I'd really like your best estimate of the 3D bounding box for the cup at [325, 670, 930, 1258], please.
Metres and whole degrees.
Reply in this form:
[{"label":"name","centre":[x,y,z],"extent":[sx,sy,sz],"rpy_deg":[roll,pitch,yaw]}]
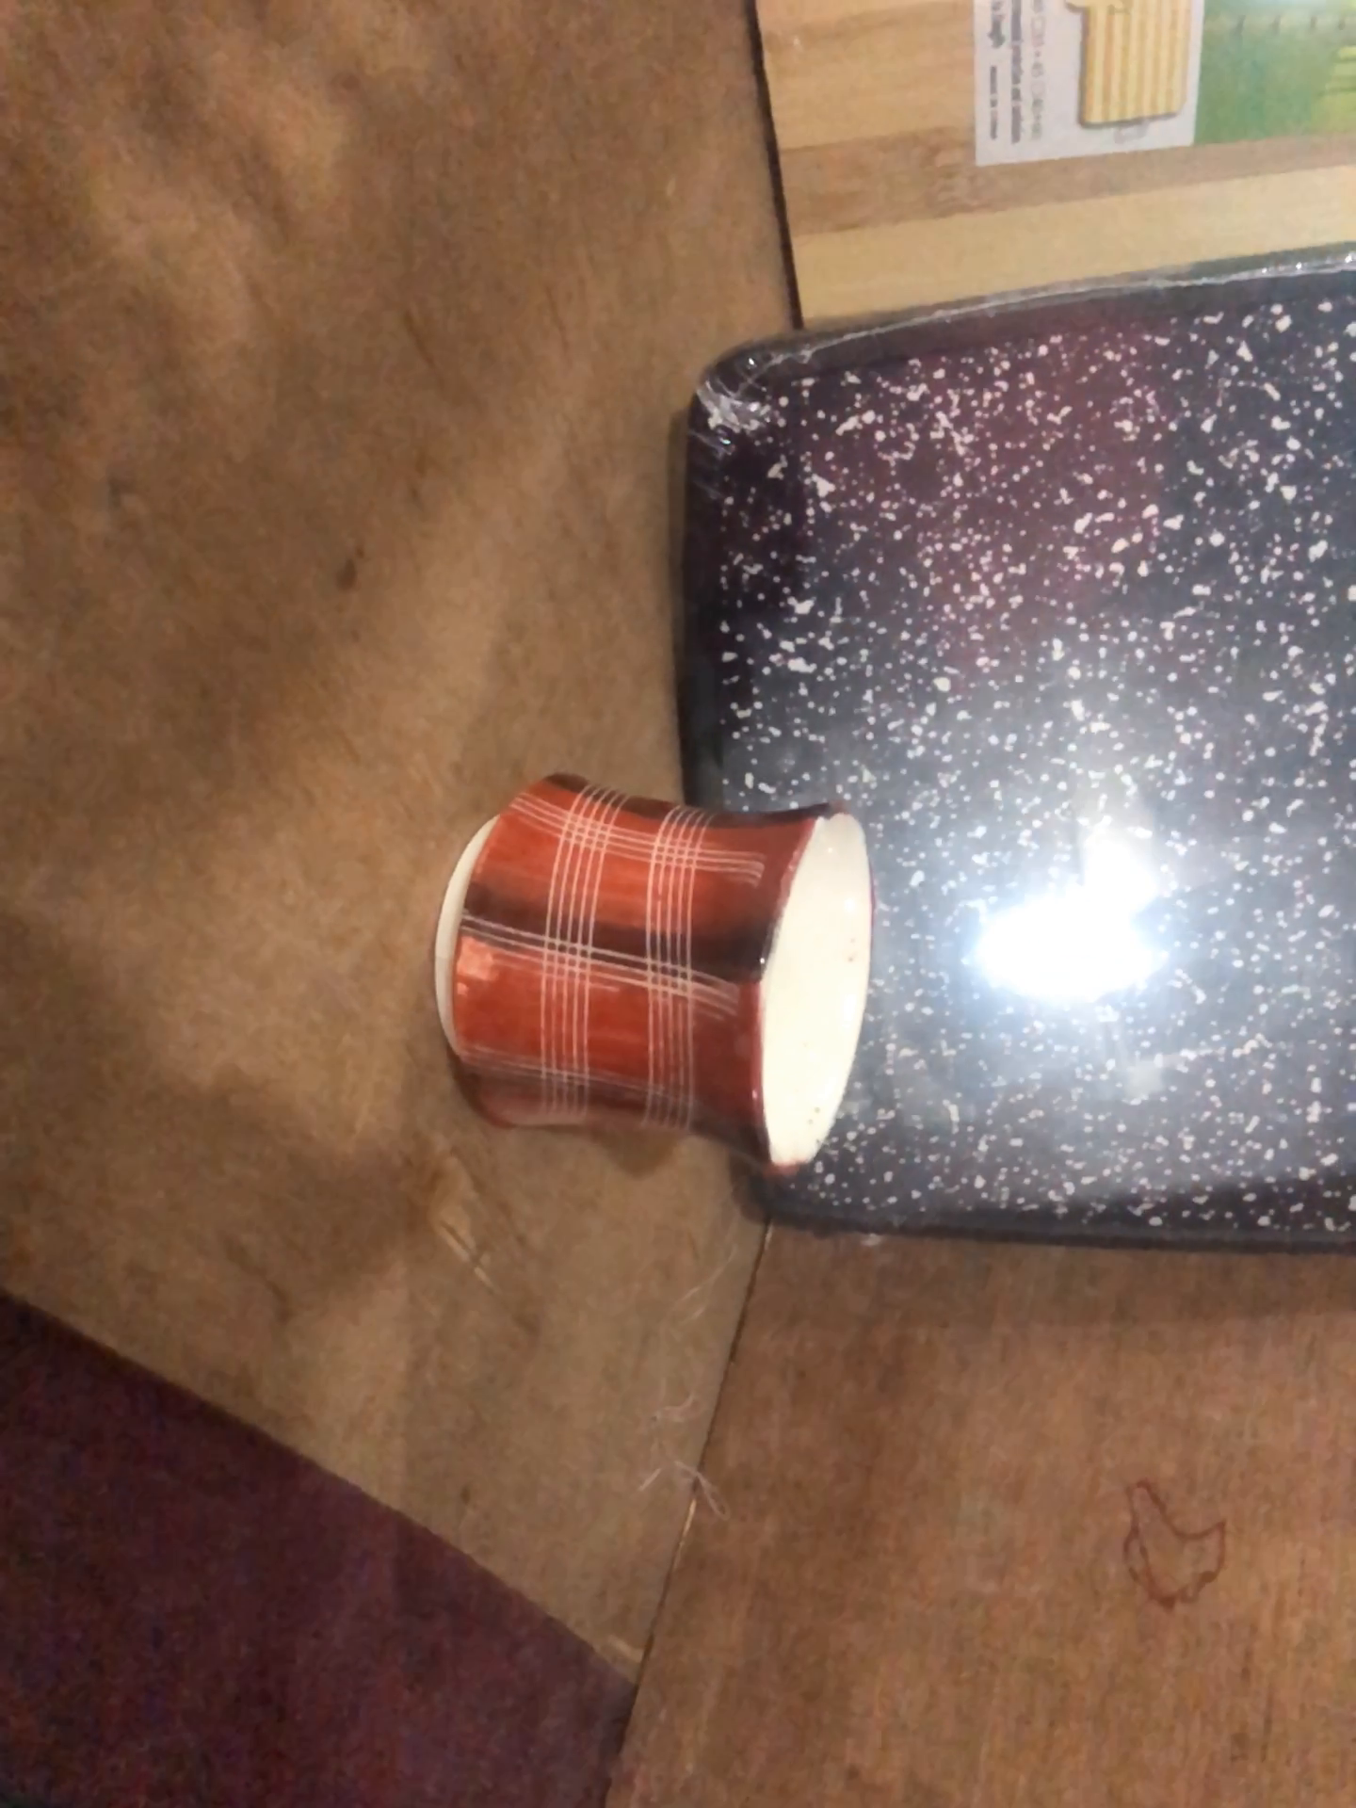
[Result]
[{"label":"cup","centre":[-0.001,0.013,0.252],"extent":[0.091,0.060,0.060],"rpy_deg":[55,47,-58]}]
